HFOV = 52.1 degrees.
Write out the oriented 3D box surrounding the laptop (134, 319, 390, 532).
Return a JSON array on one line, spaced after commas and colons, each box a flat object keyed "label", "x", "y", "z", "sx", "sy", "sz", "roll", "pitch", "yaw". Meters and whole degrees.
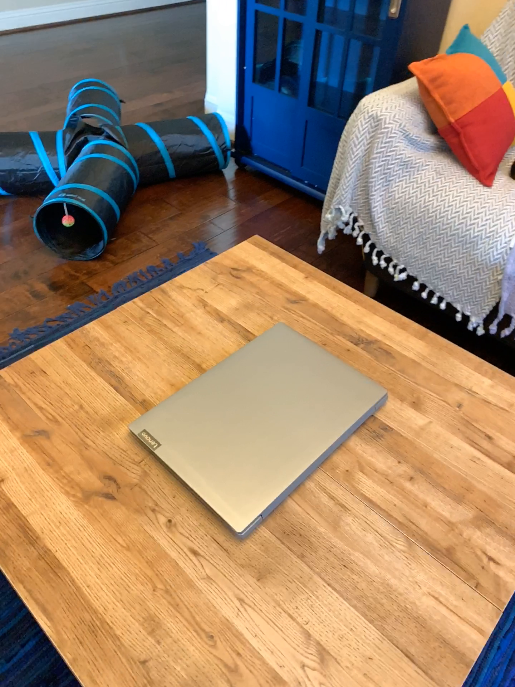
[{"label": "laptop", "x": 0.018, "y": 0.102, "z": 0.846, "sx": 0.238, "sy": 0.011, "sz": 0.348, "roll": 36, "pitch": 51, "yaw": 27}]
